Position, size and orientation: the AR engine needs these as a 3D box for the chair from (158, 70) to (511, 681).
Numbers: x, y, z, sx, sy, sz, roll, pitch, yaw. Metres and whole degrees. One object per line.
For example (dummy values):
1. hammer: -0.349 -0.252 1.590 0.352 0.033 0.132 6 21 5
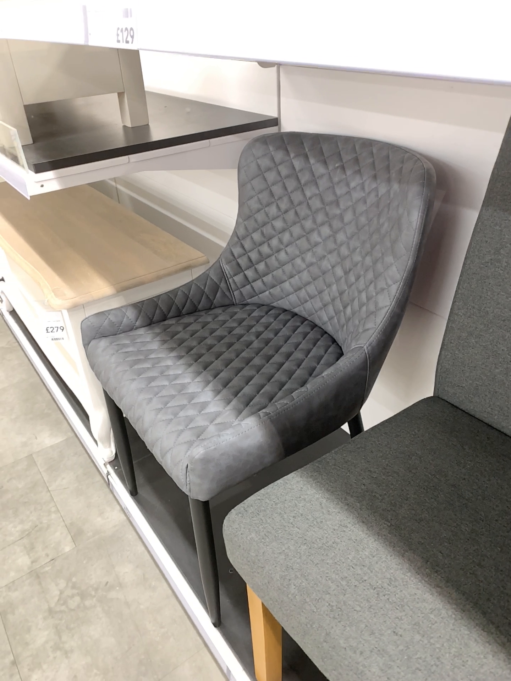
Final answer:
1. chair: 0.286 0.195 0.687 0.562 0.911 0.433 -23 37 -28

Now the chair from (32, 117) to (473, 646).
1. chair: -0.006 0.040 1.057 0.542 0.792 0.483 -23 37 -28
